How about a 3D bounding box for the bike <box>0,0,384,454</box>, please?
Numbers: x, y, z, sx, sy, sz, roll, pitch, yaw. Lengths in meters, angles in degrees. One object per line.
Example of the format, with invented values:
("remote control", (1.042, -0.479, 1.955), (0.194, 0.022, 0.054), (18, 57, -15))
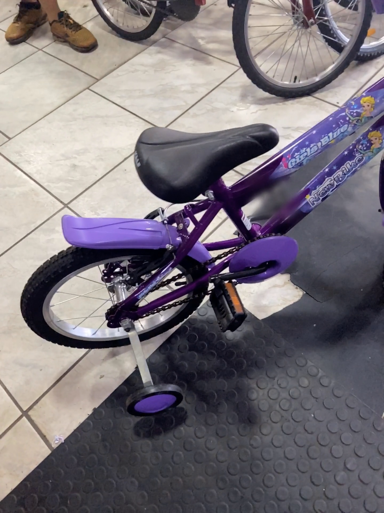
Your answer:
("bike", (0.109, -0.141, 0.700), (0.971, 0.743, 0.449), (-24, 56, -6))
